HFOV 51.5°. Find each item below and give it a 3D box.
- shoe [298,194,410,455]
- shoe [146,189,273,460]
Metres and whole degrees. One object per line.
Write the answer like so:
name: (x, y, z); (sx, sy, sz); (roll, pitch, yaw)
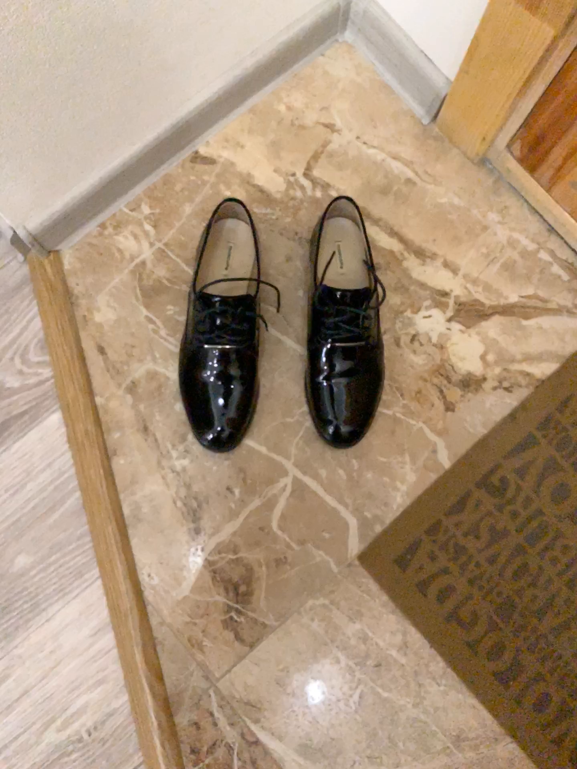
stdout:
shoe: (0.057, -0.050, 0.578); (0.090, 0.110, 0.230); (0, 80, -2)
shoe: (-0.068, -0.049, 0.571); (0.086, 0.110, 0.230); (5, 80, -1)
